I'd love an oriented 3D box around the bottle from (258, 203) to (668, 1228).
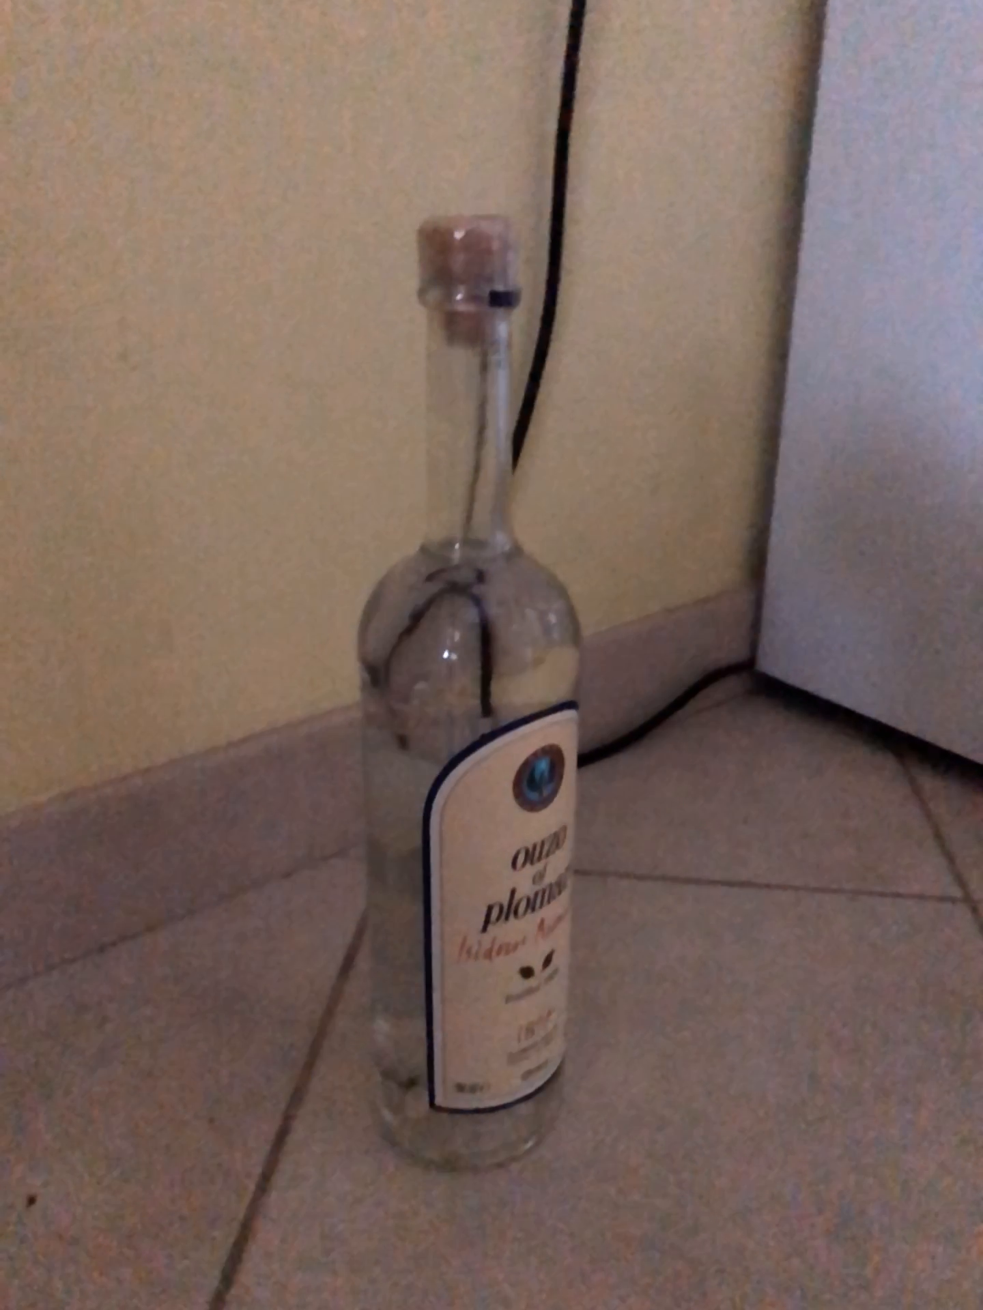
[{"bbox_3d":[-0.010,0.024,0.358,0.080,0.318,0.080,1,22,0],"label":"bottle"}]
